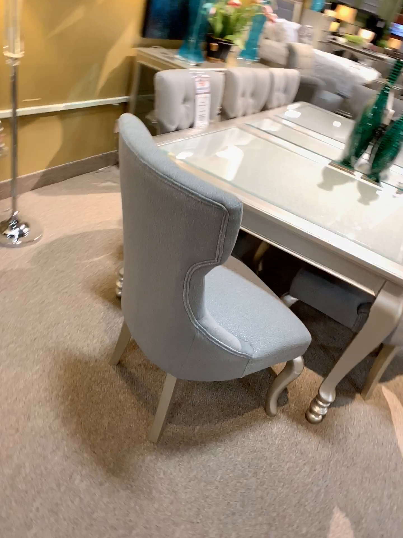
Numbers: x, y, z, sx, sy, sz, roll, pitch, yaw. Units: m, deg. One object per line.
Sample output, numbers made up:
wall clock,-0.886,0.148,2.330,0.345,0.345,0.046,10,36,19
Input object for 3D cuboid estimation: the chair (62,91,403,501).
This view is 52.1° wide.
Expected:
chair,0.040,0.057,1.265,0.682,0.915,0.582,-10,42,-35
